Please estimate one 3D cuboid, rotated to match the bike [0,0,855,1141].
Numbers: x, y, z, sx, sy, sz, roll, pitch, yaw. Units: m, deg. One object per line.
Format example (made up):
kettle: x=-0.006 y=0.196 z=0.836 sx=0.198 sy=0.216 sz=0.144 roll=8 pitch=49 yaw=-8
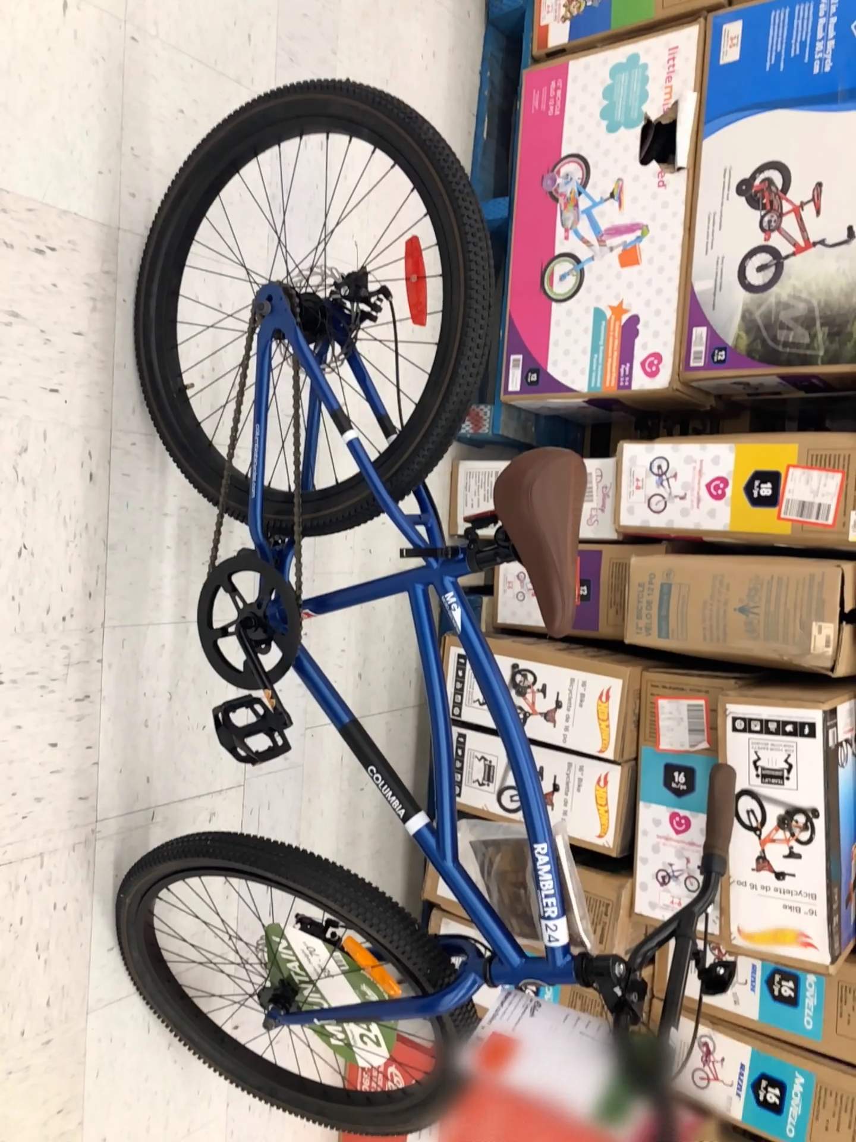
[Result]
bike: x=0.015 y=0.140 z=1.309 sx=0.652 sy=0.929 sz=1.552 roll=-13 pitch=105 yaw=-53
